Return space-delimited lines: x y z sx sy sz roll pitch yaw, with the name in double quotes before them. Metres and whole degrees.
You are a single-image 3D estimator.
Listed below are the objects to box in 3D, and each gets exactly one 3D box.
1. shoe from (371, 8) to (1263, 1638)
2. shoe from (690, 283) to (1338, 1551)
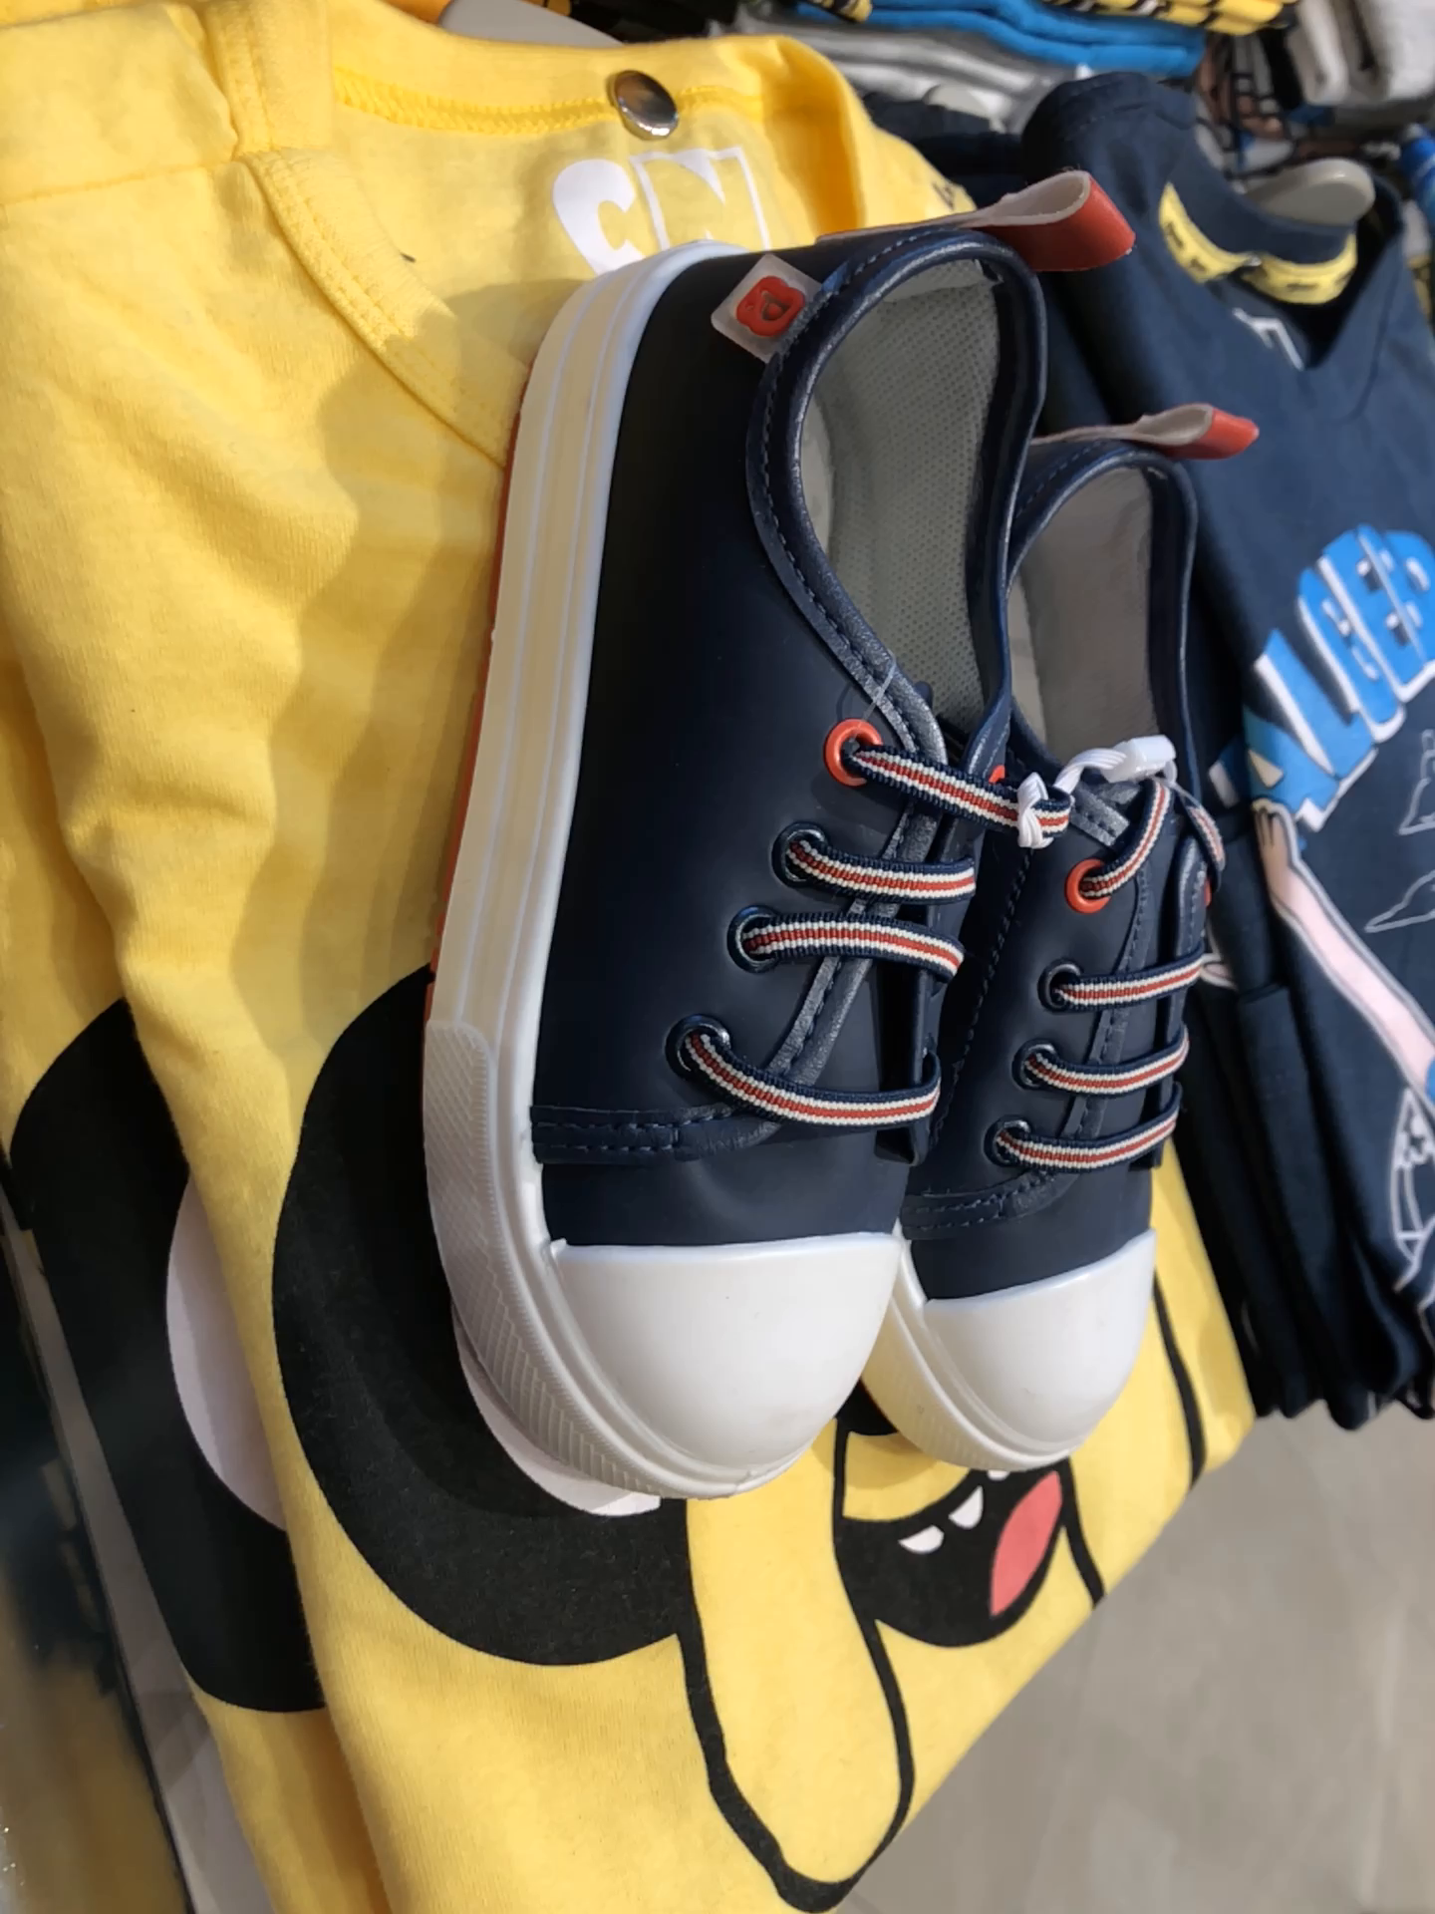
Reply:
"shoe" 0.016 -0.012 0.209 0.080 0.070 0.160 8 85 -46
"shoe" 0.052 -0.007 0.268 0.081 0.070 0.170 -6 95 -48
